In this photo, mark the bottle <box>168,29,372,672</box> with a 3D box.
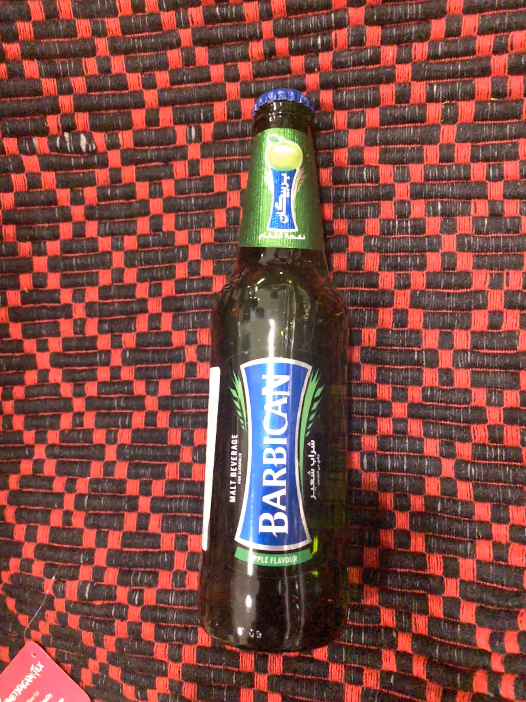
[{"bbox_3d":[0.008,-0.008,0.230,0.070,0.050,0.238,-1,80,12],"label":"bottle"}]
